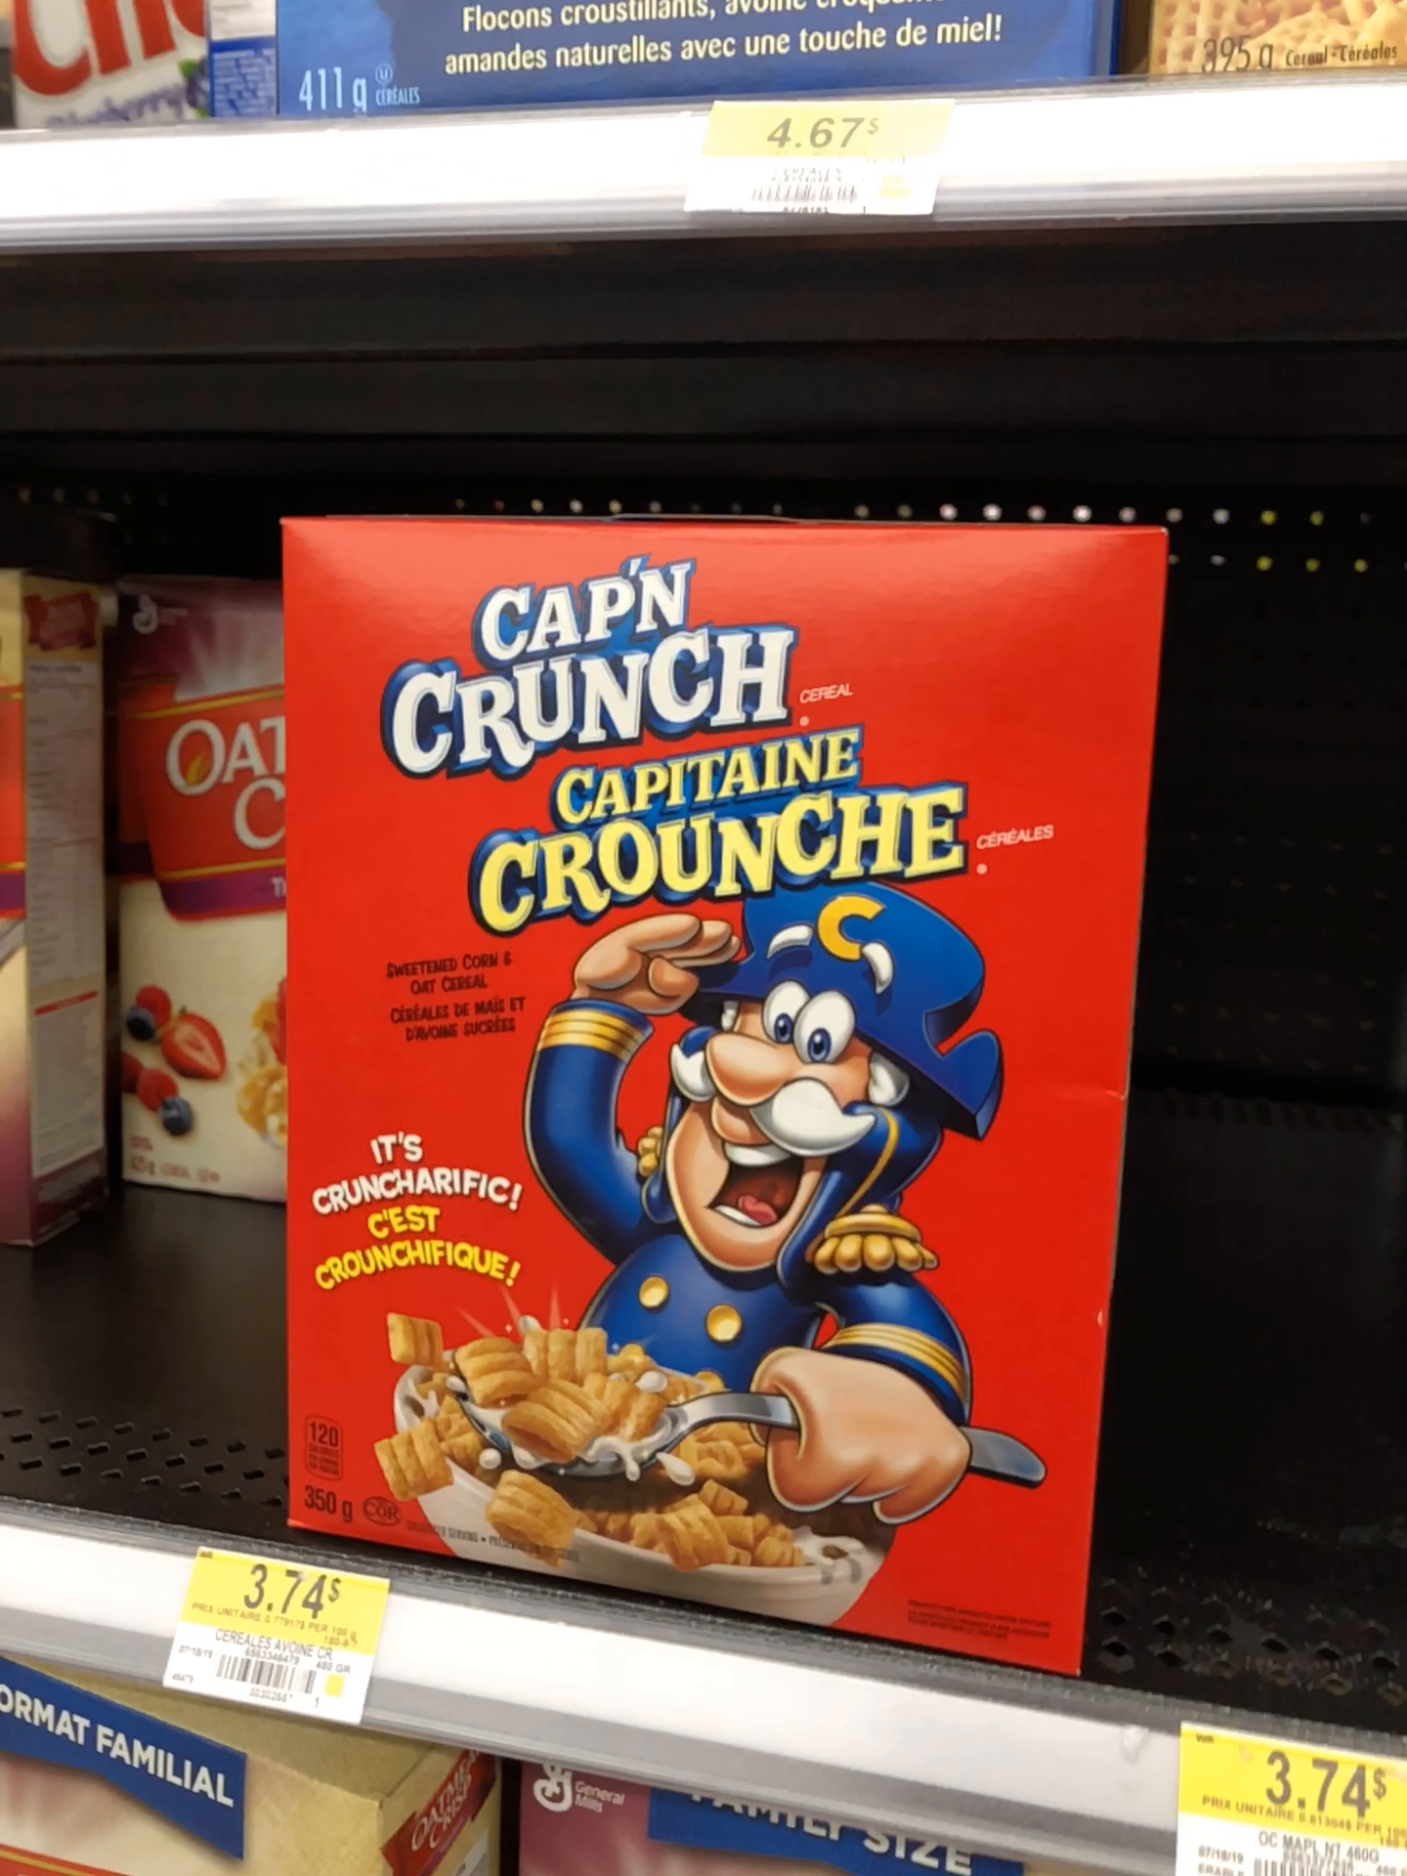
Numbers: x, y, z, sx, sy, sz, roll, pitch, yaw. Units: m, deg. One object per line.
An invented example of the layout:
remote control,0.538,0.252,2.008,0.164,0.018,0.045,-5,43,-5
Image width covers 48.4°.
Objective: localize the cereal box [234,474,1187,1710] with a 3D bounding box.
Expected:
cereal box,-0.004,0.030,0.400,0.220,0.279,0.060,5,10,15
